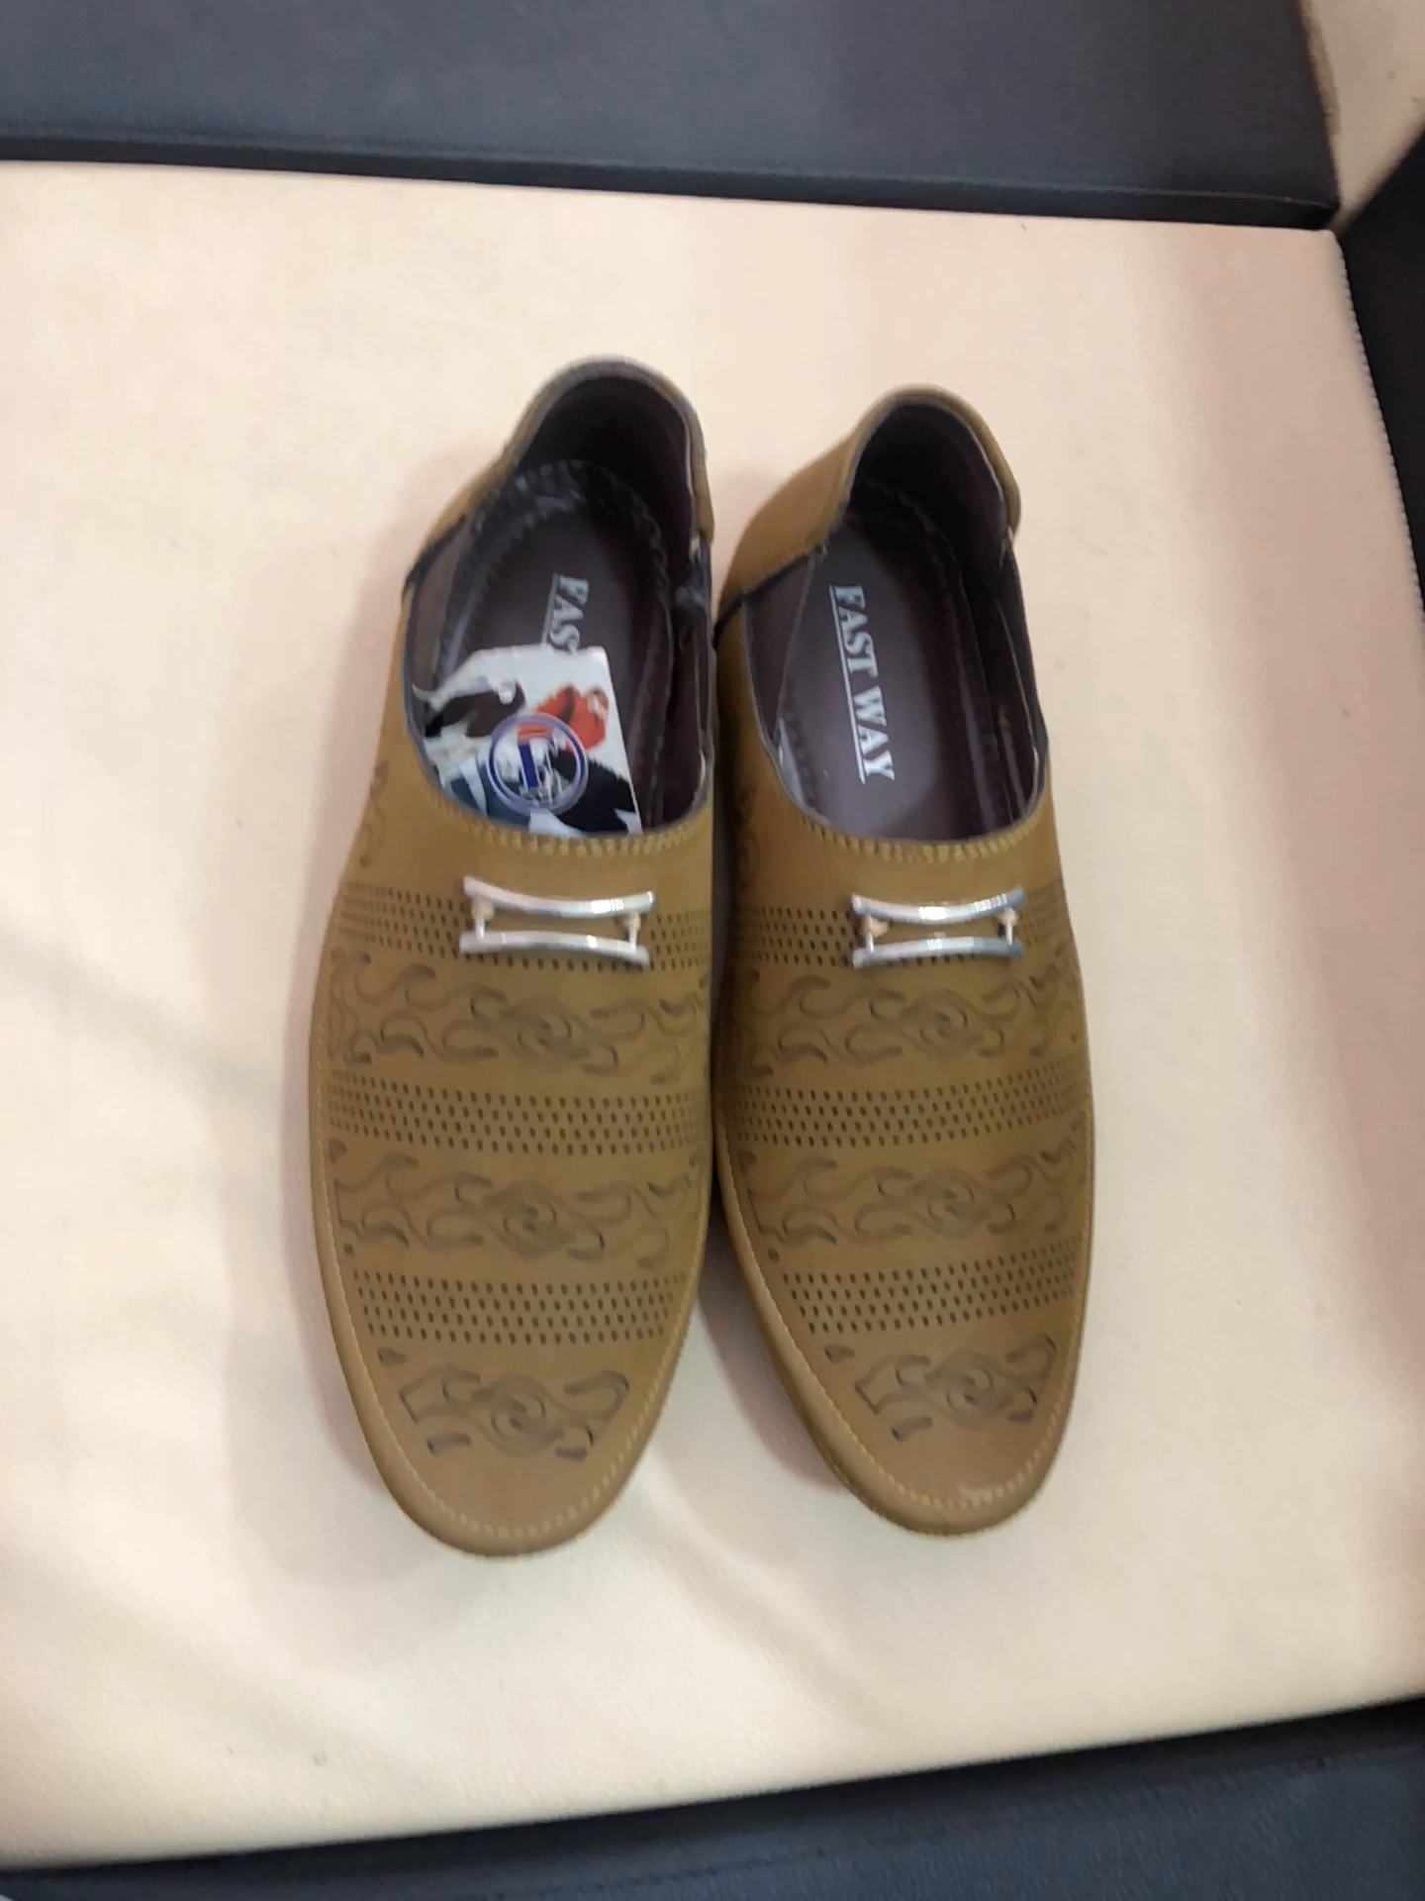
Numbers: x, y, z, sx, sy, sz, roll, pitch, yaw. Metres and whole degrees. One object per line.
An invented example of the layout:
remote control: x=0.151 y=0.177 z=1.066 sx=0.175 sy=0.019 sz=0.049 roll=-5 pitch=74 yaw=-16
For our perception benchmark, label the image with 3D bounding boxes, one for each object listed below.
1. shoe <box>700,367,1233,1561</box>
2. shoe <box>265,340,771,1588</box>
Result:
shoe: x=0.053 y=0.003 z=0.413 sx=0.100 sy=0.100 sz=0.280 roll=0 pitch=76 yaw=-6
shoe: x=-0.045 y=0.002 z=0.397 sx=0.100 sy=0.100 sz=0.280 roll=0 pitch=76 yaw=-6
